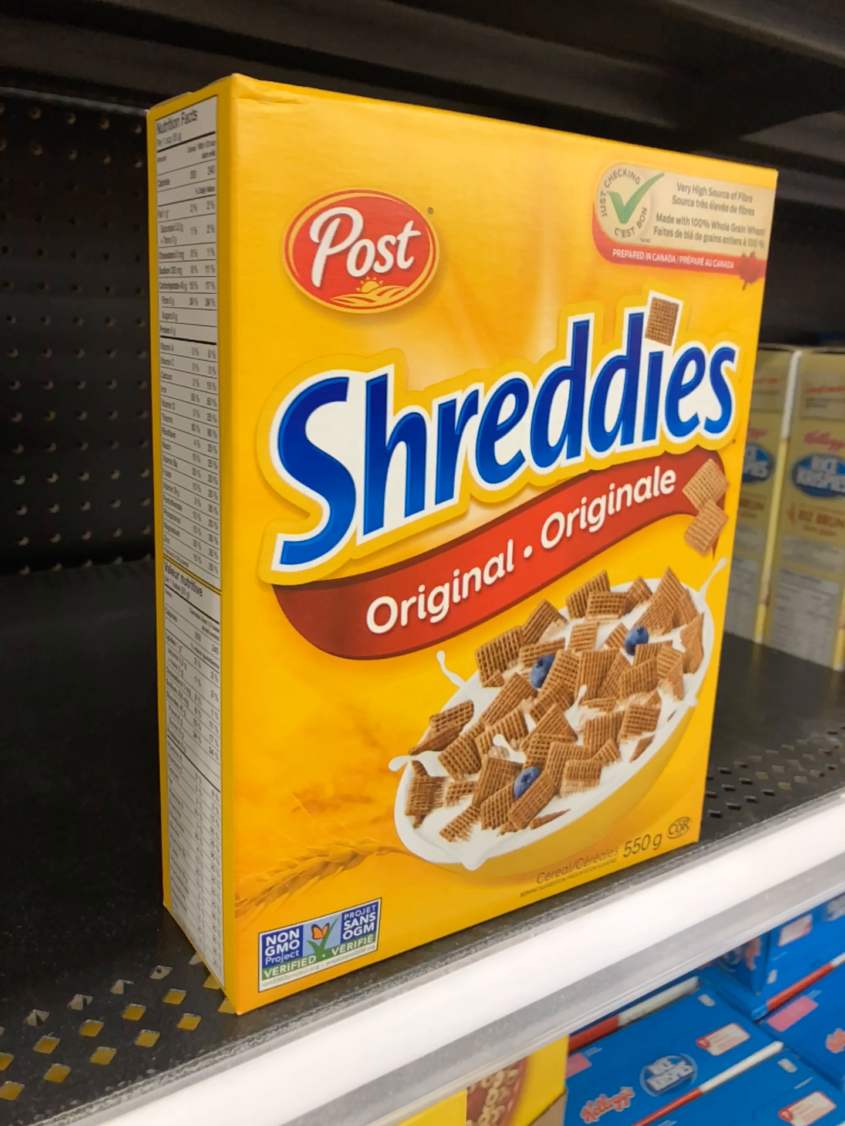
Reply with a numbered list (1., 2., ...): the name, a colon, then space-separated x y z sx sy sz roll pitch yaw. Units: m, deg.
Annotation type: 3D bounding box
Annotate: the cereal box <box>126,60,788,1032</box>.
1. cereal box: 0.016 -0.008 0.330 0.210 0.259 0.070 -7 17 -34
